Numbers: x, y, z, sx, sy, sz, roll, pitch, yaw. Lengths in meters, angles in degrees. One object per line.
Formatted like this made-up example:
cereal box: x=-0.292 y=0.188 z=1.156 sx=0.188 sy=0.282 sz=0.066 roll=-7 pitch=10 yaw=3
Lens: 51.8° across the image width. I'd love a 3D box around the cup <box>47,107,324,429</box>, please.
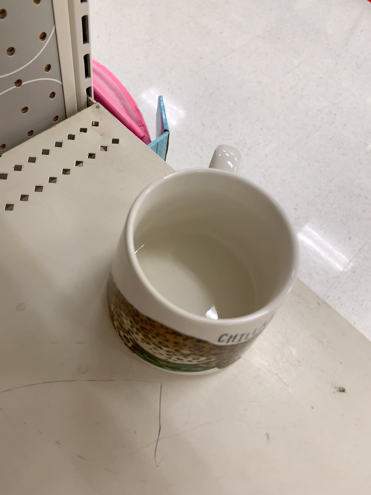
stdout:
cup: x=0.005 y=0.016 z=0.220 sx=0.110 sy=0.090 sz=0.140 roll=13 pitch=61 yaw=-4
